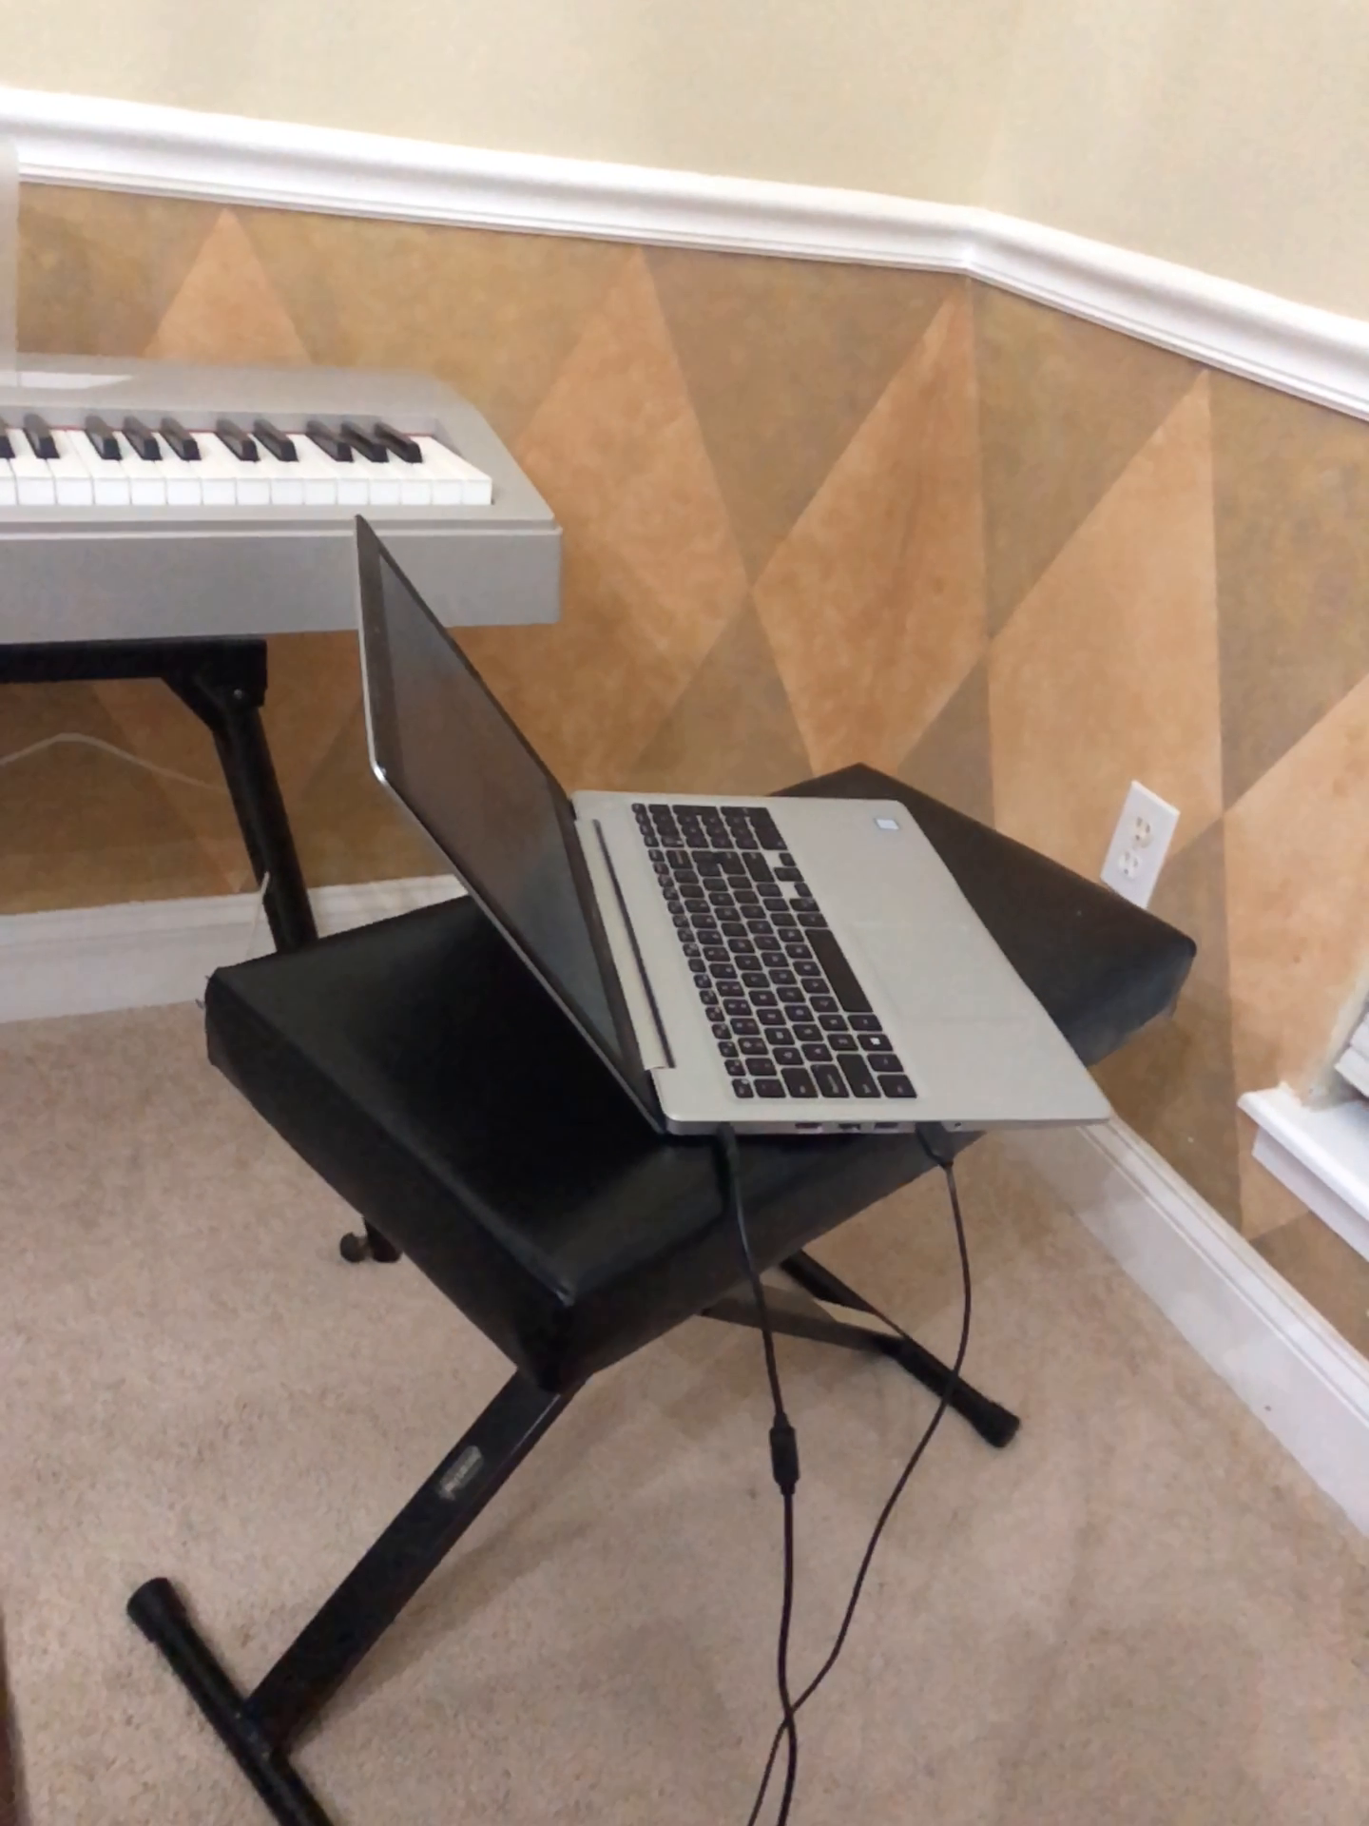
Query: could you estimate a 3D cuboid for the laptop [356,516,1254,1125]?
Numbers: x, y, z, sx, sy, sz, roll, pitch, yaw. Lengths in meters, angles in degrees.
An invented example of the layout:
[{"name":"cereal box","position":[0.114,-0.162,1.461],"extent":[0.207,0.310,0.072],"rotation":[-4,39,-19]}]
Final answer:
[{"name":"laptop","position":[0.025,-0.069,0.875],"extent":[0.408,0.183,0.377],"rotation":[1,31,-15]}]
